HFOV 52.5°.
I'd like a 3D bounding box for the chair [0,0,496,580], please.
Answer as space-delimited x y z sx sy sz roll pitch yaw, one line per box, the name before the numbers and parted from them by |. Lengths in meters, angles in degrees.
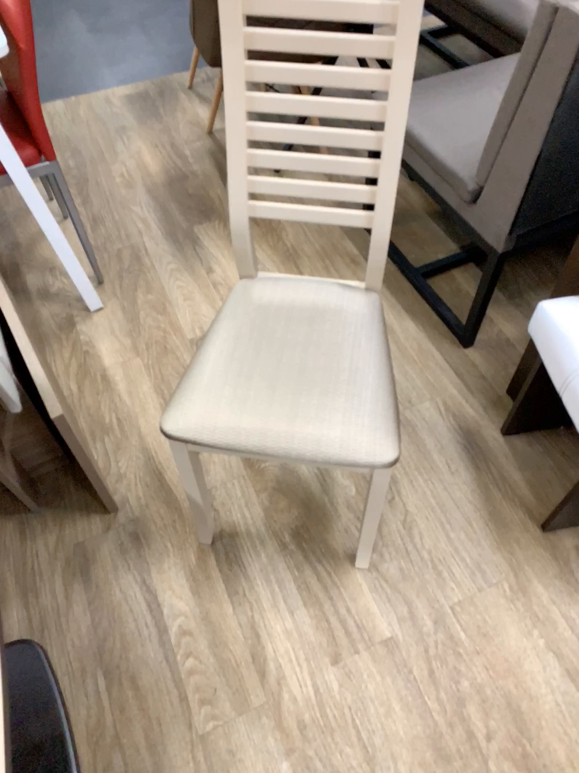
chair | 0.004 -0.118 1.061 0.440 0.986 0.552 7 54 6
